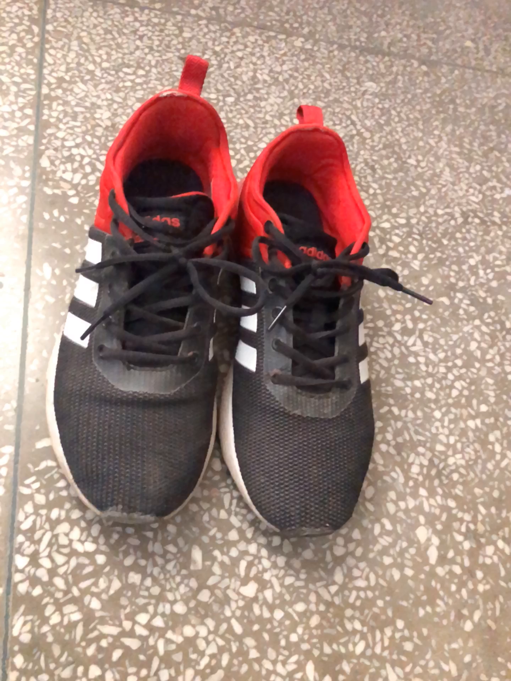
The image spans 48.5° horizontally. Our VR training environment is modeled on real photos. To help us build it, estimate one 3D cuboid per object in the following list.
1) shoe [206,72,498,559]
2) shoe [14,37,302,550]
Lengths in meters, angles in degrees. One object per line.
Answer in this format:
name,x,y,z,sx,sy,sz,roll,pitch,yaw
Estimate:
shoe,0.047,-0.019,0.420,0.130,0.140,0.320,7,61,-13
shoe,-0.056,-0.033,0.391,0.130,0.140,0.310,8,60,-13
